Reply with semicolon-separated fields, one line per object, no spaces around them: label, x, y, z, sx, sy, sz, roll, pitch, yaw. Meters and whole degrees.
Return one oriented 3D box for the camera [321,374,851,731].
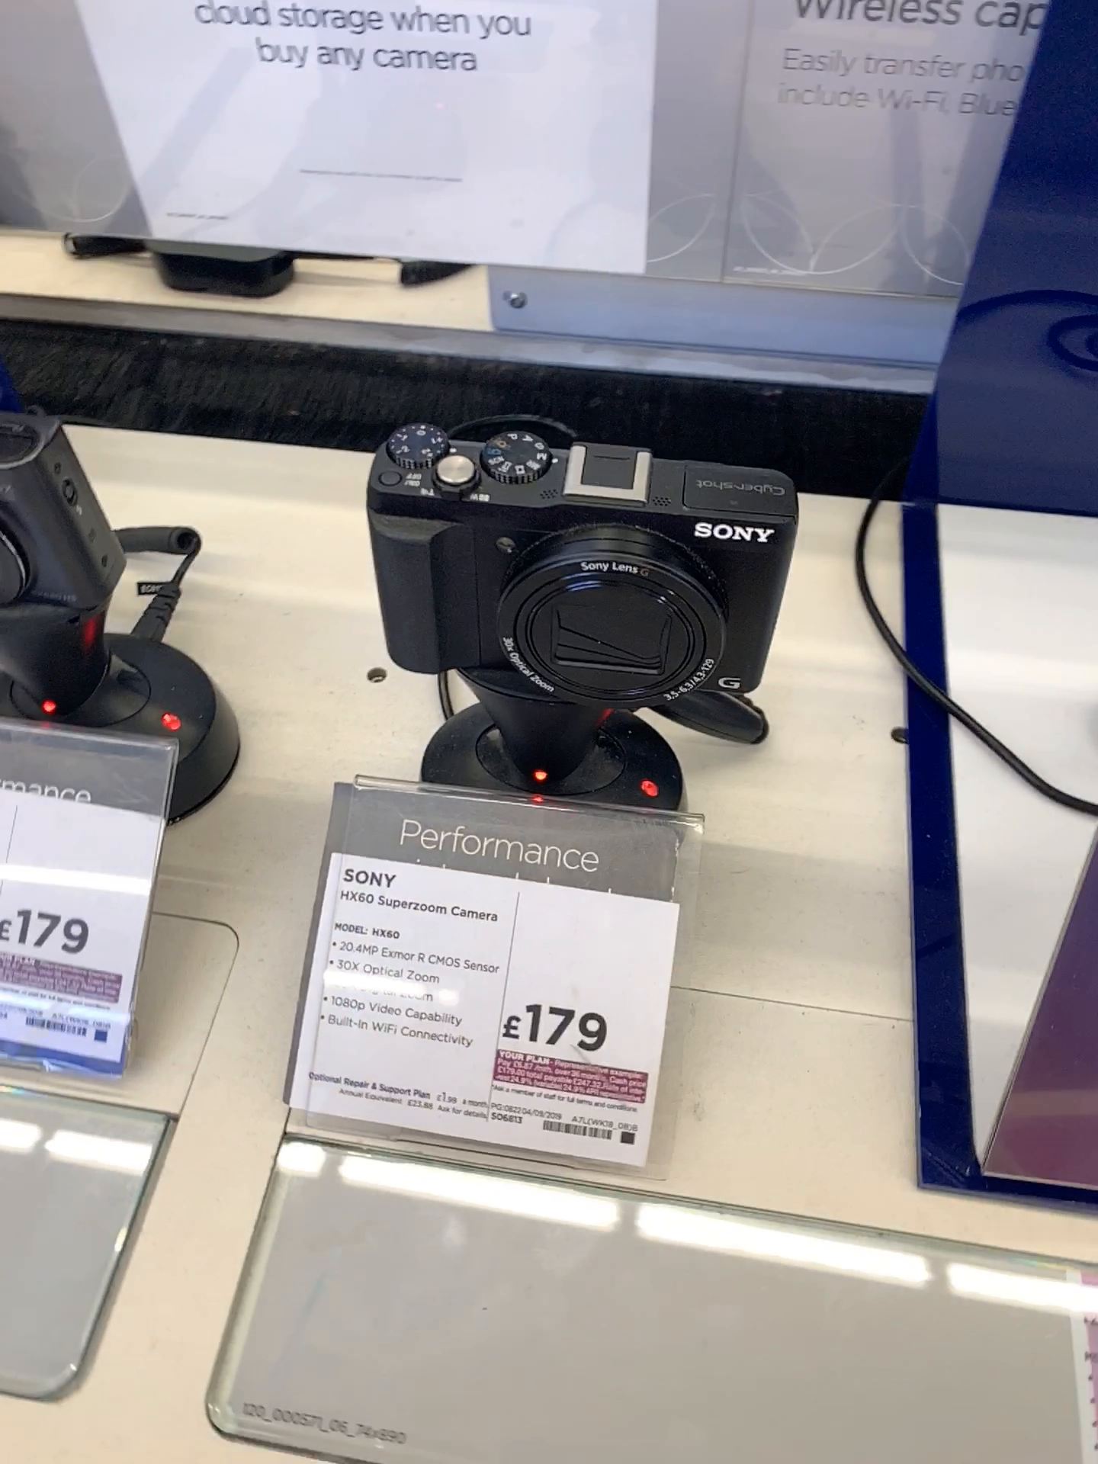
camera;0.010;-0.042;0.273;0.110;0.069;0.040;5;54;5
